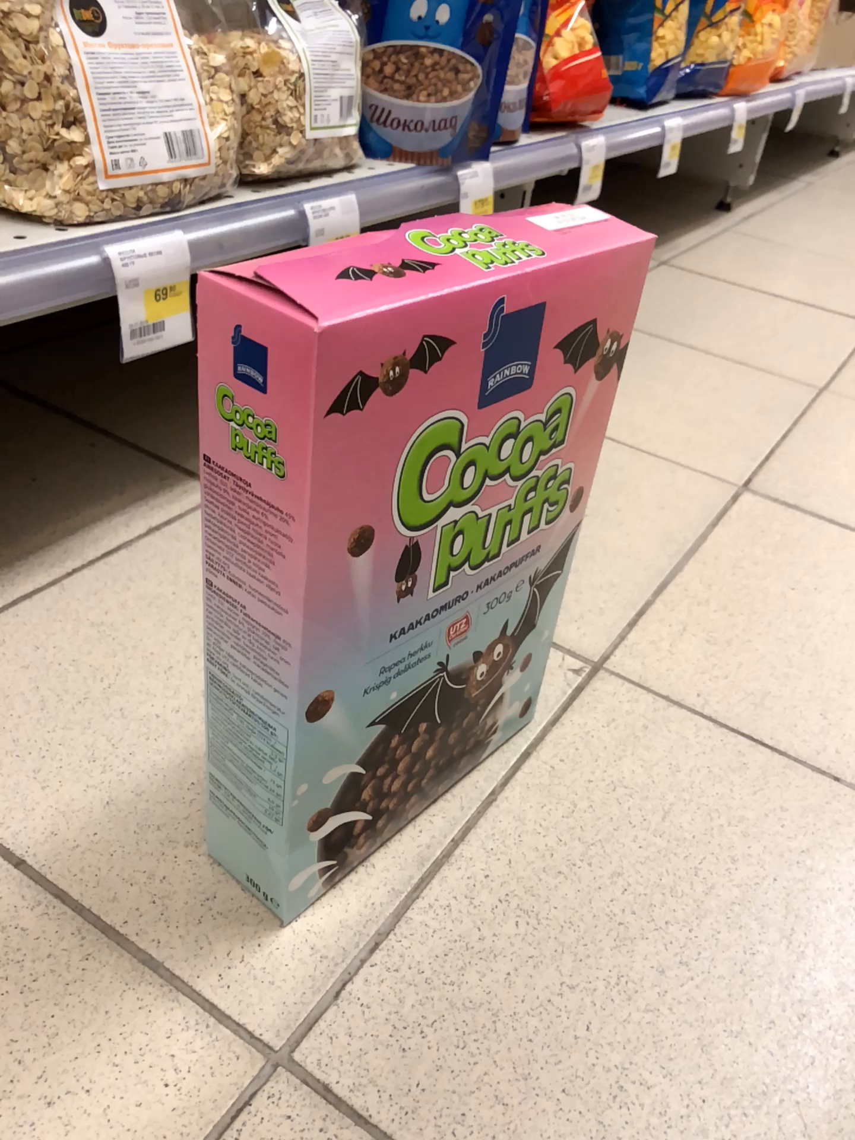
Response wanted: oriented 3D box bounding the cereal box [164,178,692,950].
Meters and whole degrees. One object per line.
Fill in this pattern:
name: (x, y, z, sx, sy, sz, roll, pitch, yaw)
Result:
cereal box: (0.000, -0.007, 0.397, 0.060, 0.268, 0.211, 30, 39, 29)
